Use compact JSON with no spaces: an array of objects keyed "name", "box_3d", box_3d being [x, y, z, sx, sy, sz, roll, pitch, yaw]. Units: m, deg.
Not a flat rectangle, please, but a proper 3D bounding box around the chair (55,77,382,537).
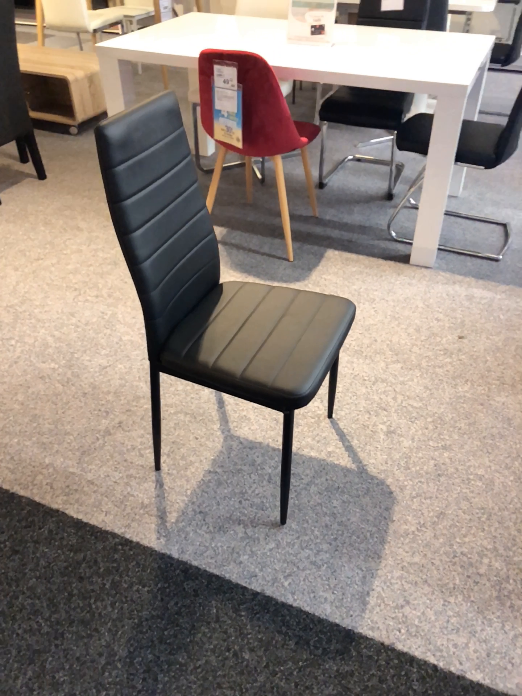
[{"name":"chair","box_3d":[-0.056,-0.083,1.400,0.470,0.934,0.473,16,41,19]}]
